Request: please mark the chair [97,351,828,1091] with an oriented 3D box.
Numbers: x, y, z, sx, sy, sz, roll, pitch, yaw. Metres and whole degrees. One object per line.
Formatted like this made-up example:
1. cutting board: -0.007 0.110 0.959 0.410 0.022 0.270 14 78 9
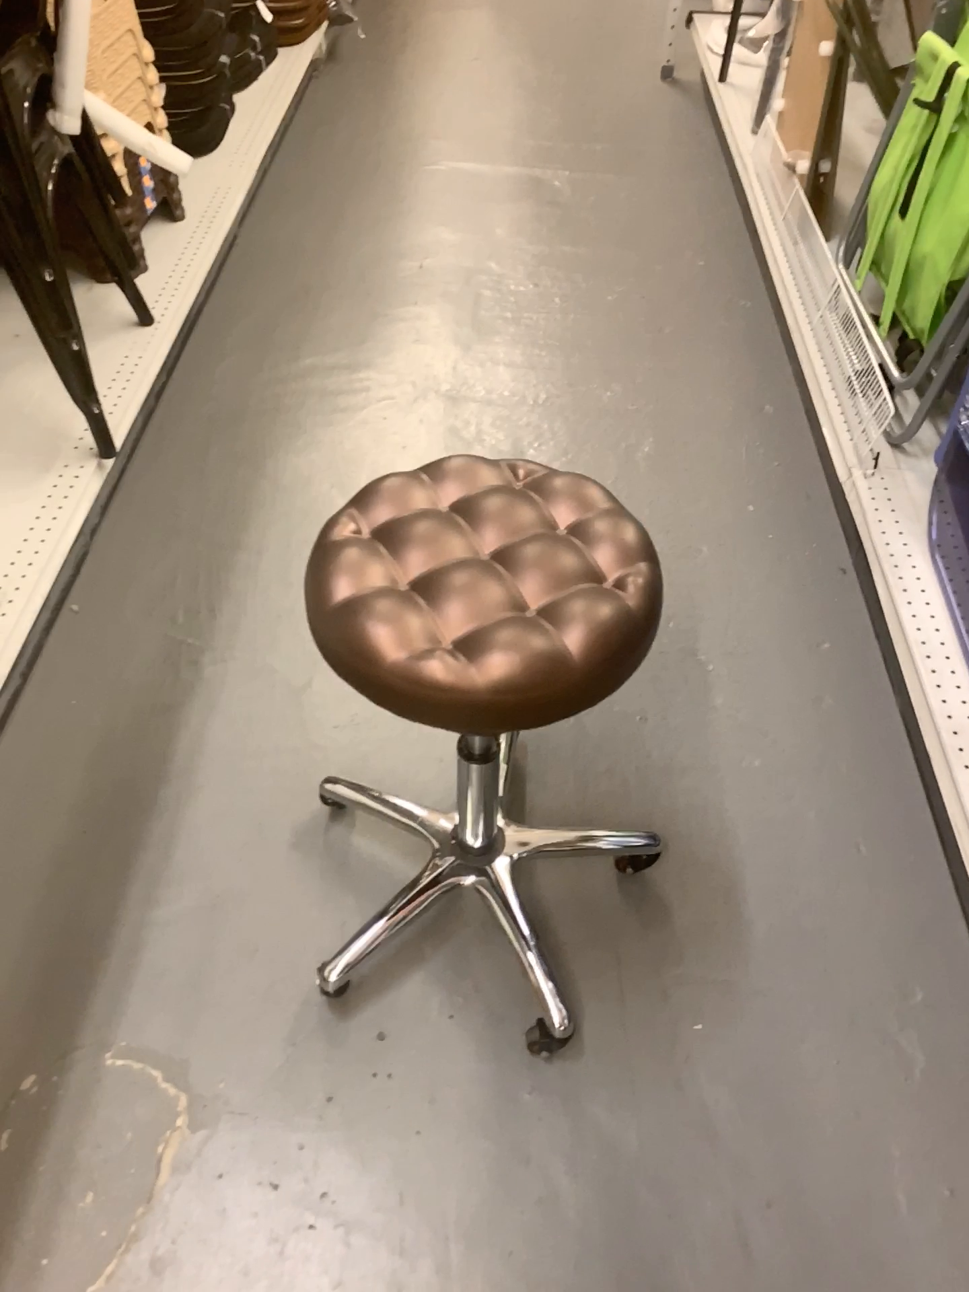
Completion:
1. chair: -0.006 0.090 1.054 0.501 0.574 0.514 4 47 2
